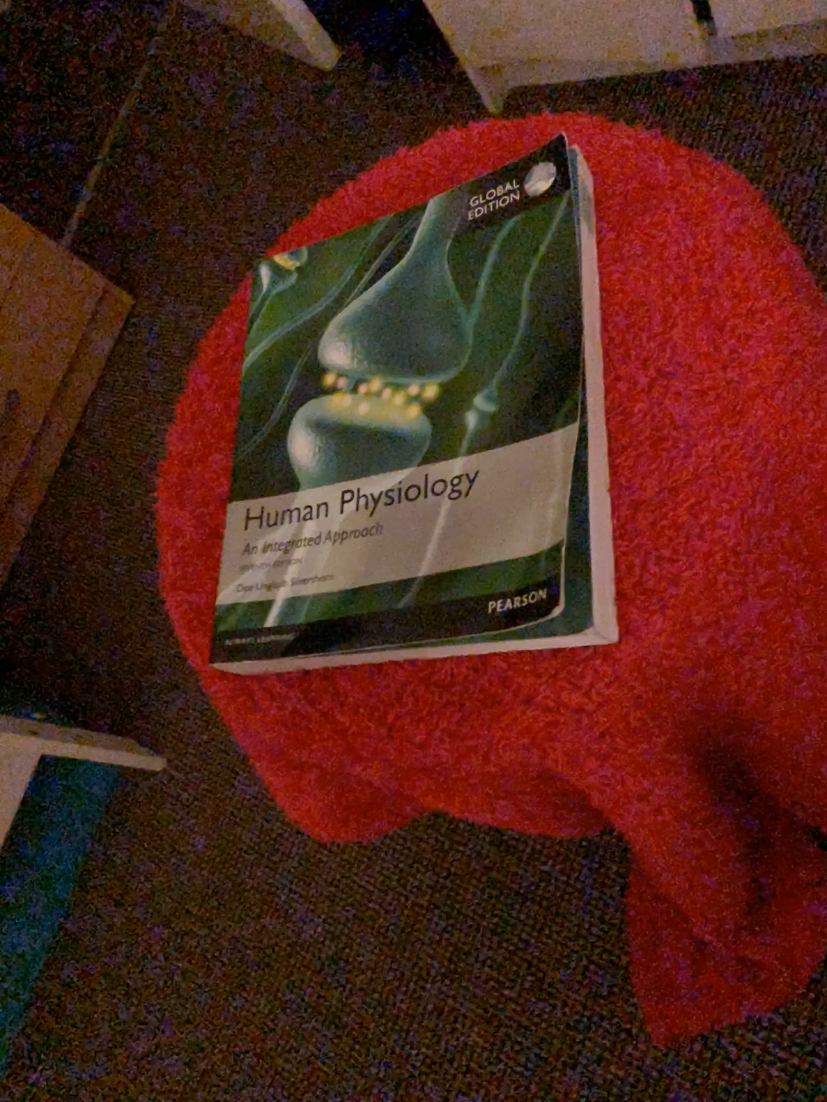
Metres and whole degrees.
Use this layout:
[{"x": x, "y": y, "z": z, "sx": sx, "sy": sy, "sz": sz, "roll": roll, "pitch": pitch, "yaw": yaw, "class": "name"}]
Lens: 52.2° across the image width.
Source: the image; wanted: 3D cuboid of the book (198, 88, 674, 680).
[{"x": 0.009, "y": -0.087, "z": 0.501, "sx": 0.251, "sy": 0.070, "sz": 0.301, "roll": -9, "pitch": 66, "yaw": 29, "class": "book"}]
